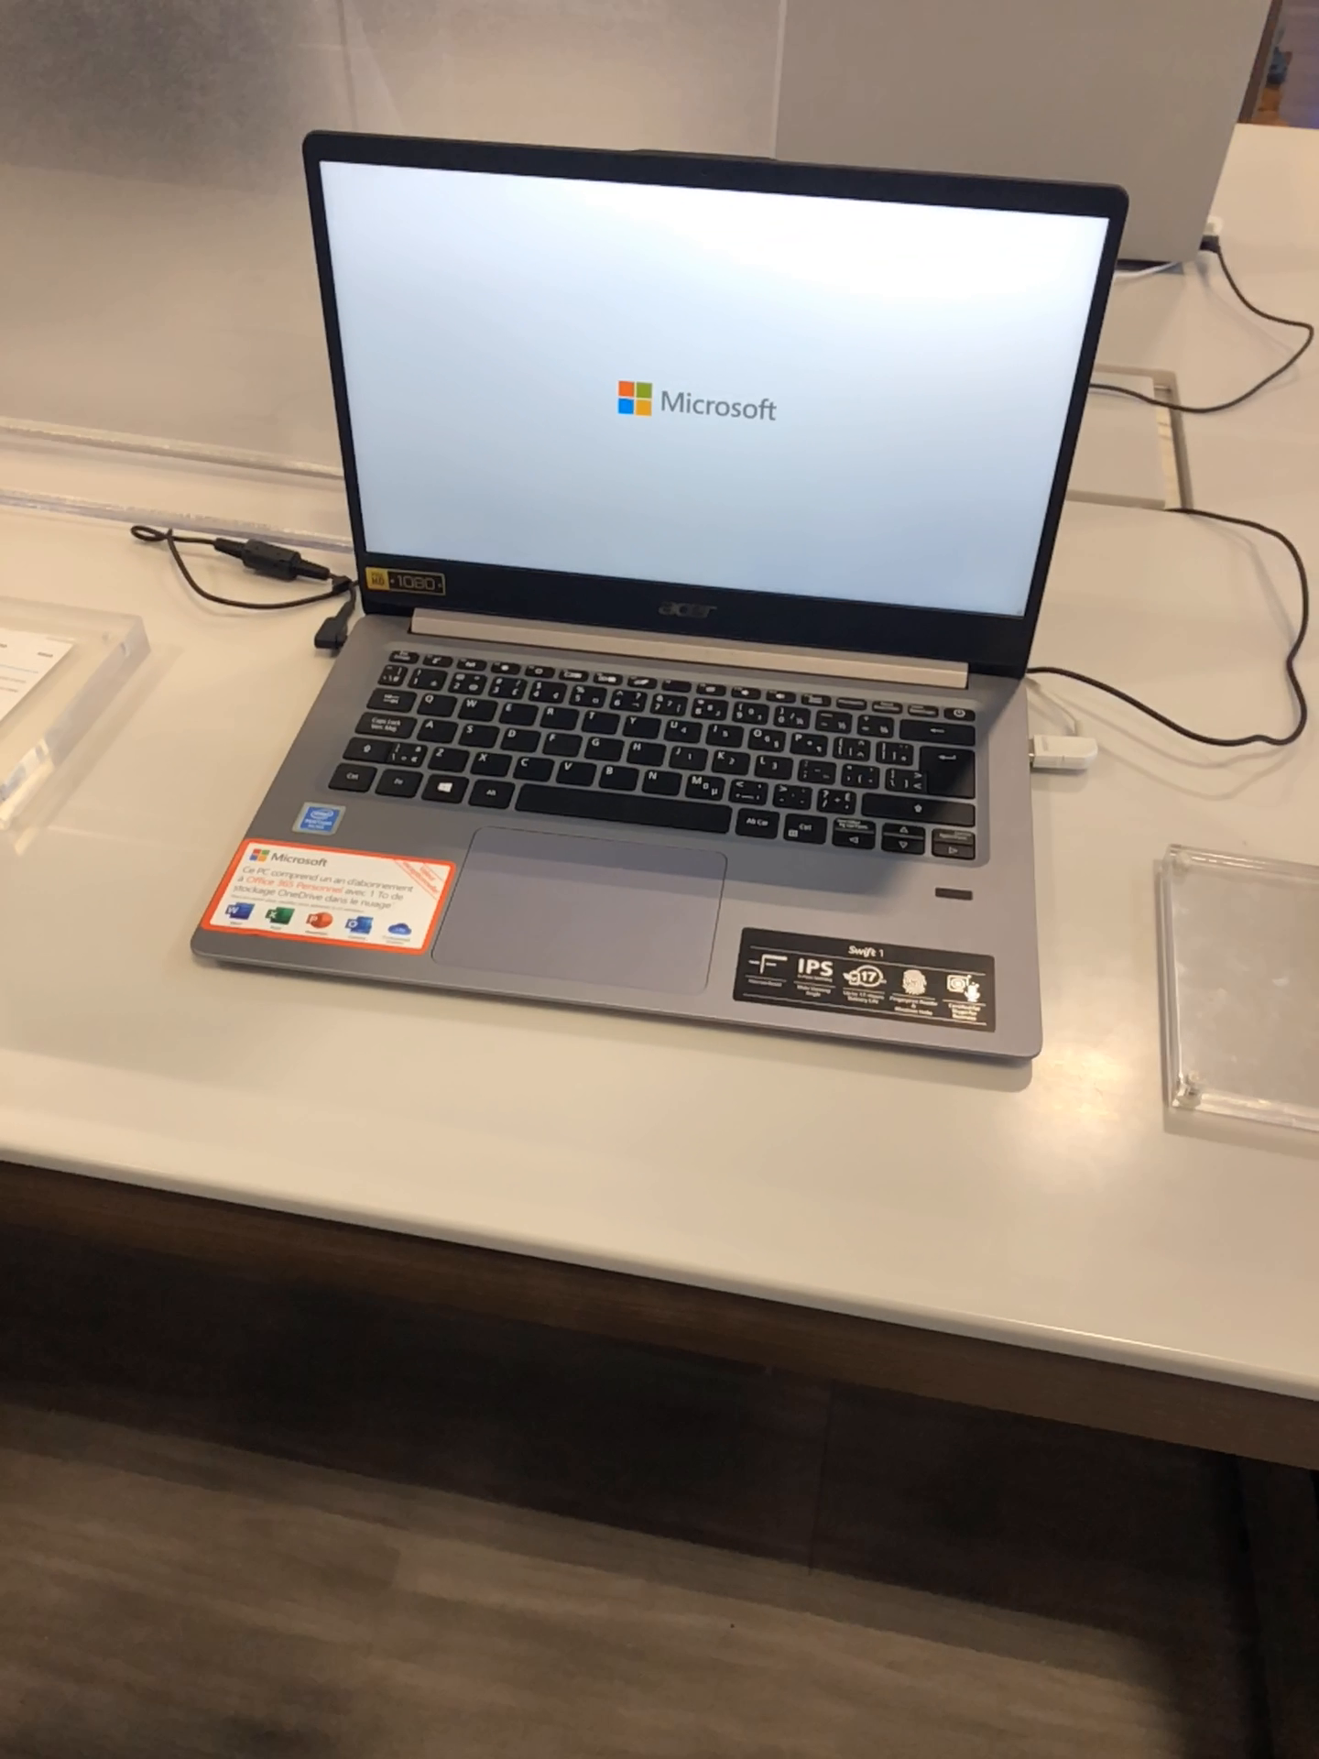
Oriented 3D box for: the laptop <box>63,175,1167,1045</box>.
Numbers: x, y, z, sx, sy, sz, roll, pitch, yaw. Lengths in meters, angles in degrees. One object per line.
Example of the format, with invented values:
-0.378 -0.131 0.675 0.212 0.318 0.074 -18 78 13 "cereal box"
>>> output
0.001 -0.107 0.549 0.306 0.205 0.225 7 45 5 "laptop"
